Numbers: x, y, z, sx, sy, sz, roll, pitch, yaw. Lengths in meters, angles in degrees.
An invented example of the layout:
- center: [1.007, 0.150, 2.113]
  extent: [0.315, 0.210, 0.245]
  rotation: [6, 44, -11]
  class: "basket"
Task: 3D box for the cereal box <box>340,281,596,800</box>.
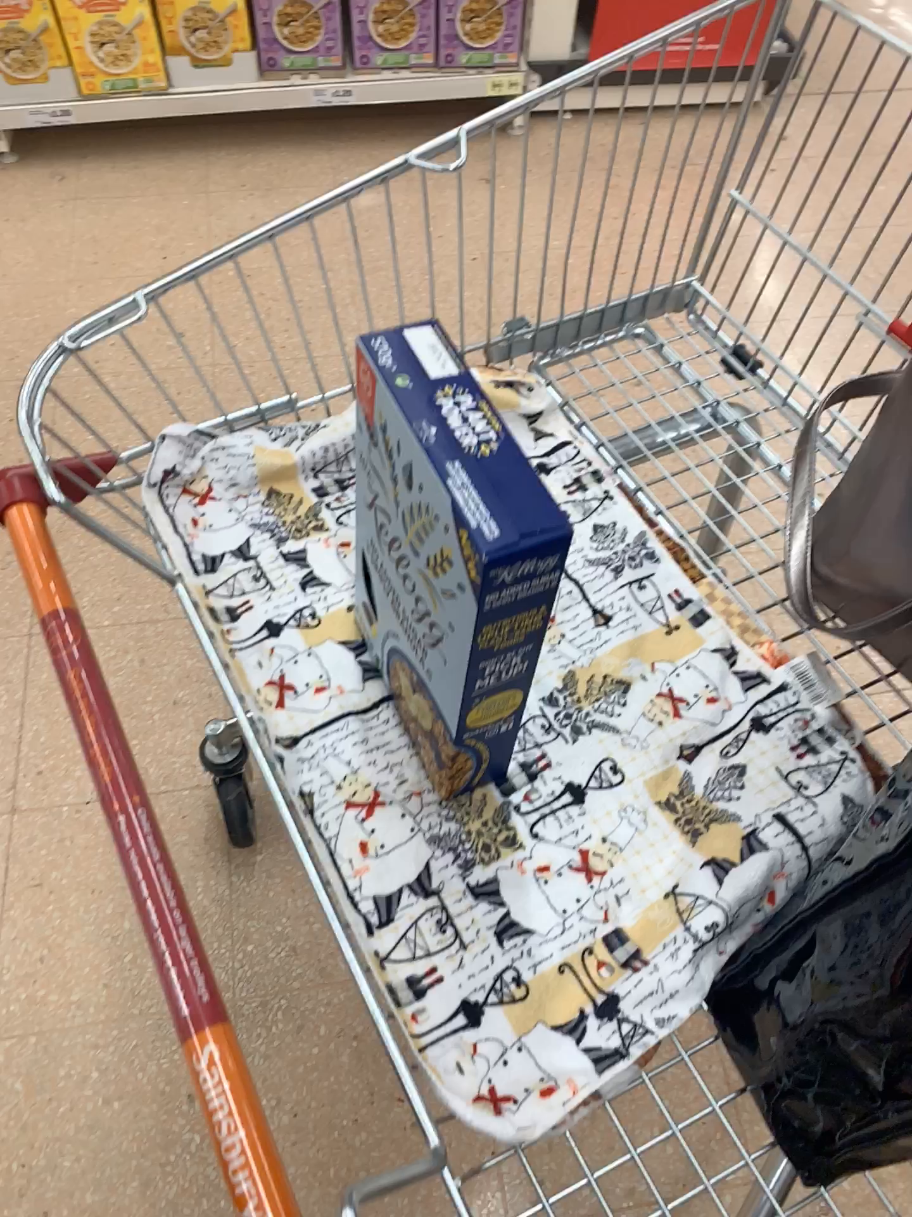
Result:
- center: [-0.012, -0.026, 0.532]
  extent: [0.050, 0.248, 0.171]
  rotation: [-16, 57, -19]
  class: "cereal box"
